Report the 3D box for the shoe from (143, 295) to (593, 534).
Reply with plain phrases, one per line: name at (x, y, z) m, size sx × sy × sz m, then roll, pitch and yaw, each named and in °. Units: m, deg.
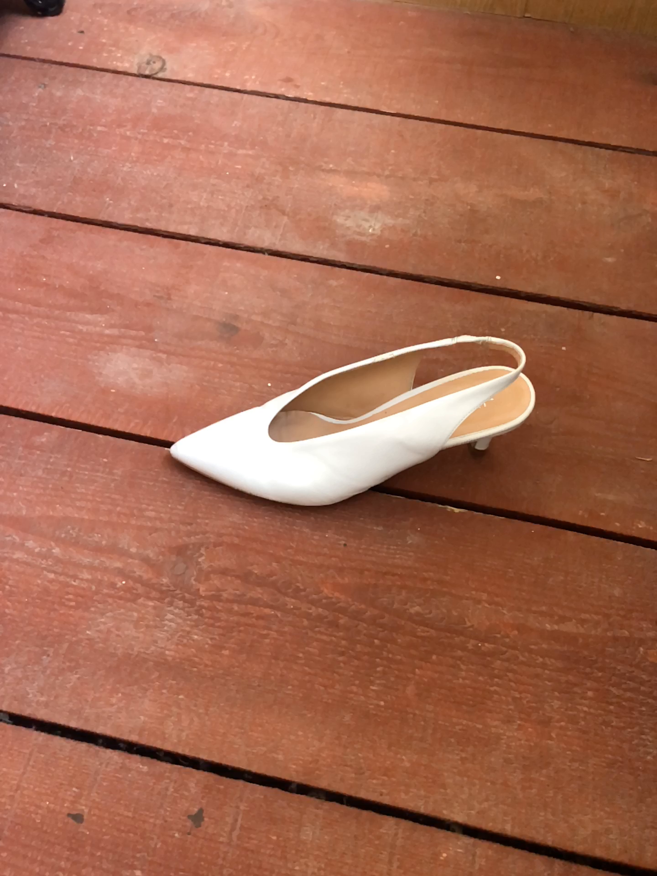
shoe at (0.018, -0.013, 0.446) m, size 0.240 × 0.080 × 0.100 m, roll -5°, pitch 61°, yaw -2°
